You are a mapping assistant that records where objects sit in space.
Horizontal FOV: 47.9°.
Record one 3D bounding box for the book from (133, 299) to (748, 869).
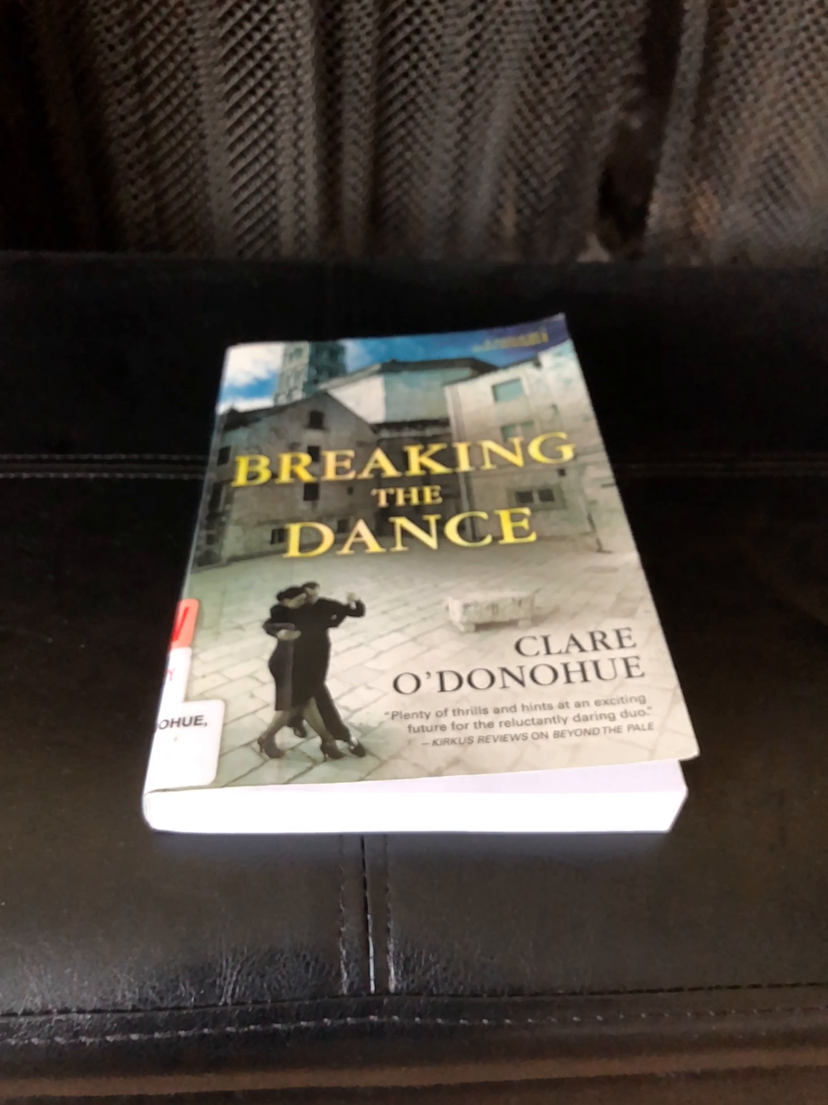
[{"bbox_3d":[0.002,-0.008,0.300,0.140,0.040,0.210,1,44,-4],"label":"book"}]
